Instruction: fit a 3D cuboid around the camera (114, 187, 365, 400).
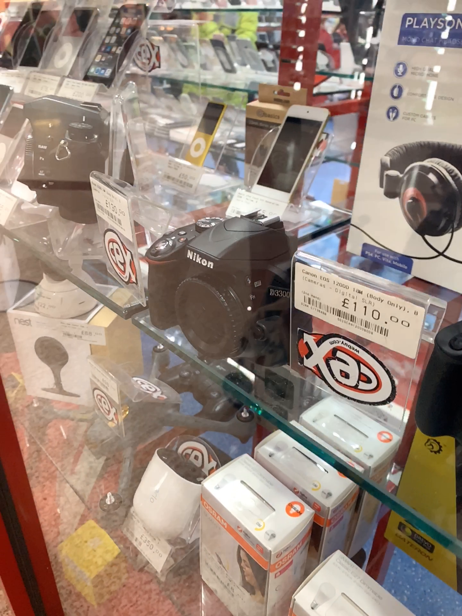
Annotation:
[{"bbox_3d":[0.005,-0.022,0.341,0.131,0.079,0.111,25,37,34],"label":"camera"}]
